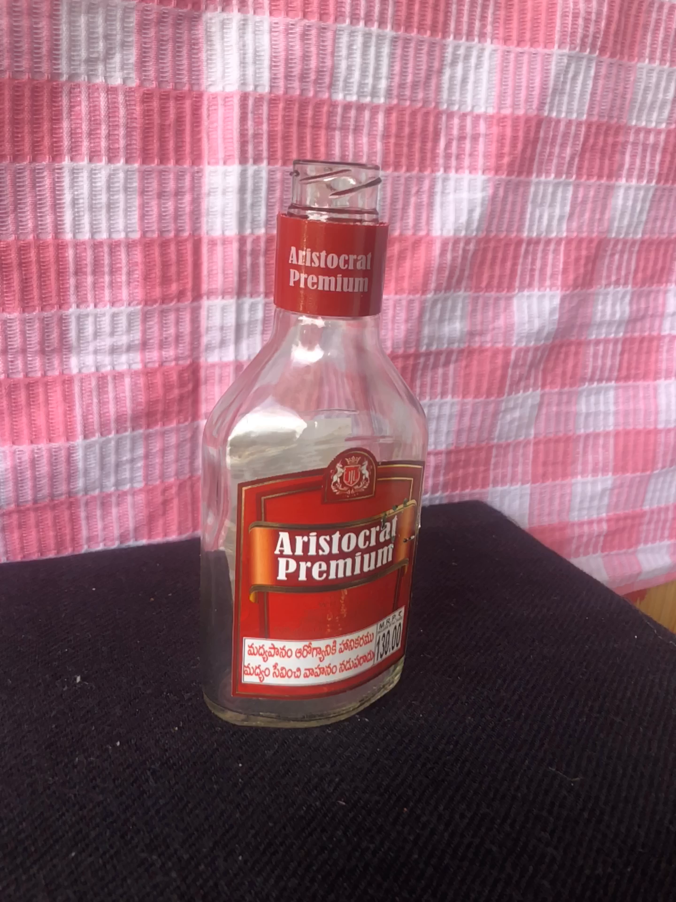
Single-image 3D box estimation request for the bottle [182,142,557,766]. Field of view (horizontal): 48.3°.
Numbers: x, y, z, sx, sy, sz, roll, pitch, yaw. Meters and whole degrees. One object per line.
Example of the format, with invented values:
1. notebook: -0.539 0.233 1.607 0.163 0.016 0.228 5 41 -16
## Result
1. bottle: 0.000 0.001 0.205 0.070 0.149 0.050 -4 23 -25
